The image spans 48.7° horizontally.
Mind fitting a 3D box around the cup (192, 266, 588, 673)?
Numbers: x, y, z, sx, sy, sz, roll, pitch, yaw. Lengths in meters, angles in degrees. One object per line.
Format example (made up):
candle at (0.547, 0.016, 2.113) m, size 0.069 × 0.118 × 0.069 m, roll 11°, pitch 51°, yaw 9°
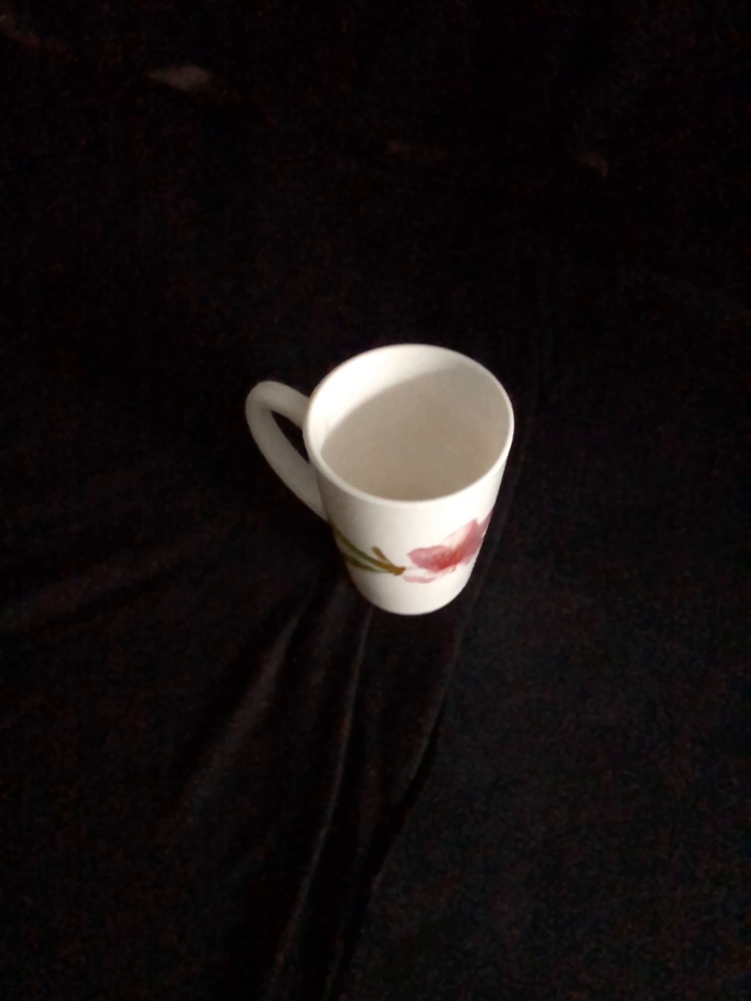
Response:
cup at (0.005, -0.007, 0.372) m, size 0.125 × 0.130 × 0.090 m, roll 22°, pitch 62°, yaw 9°
